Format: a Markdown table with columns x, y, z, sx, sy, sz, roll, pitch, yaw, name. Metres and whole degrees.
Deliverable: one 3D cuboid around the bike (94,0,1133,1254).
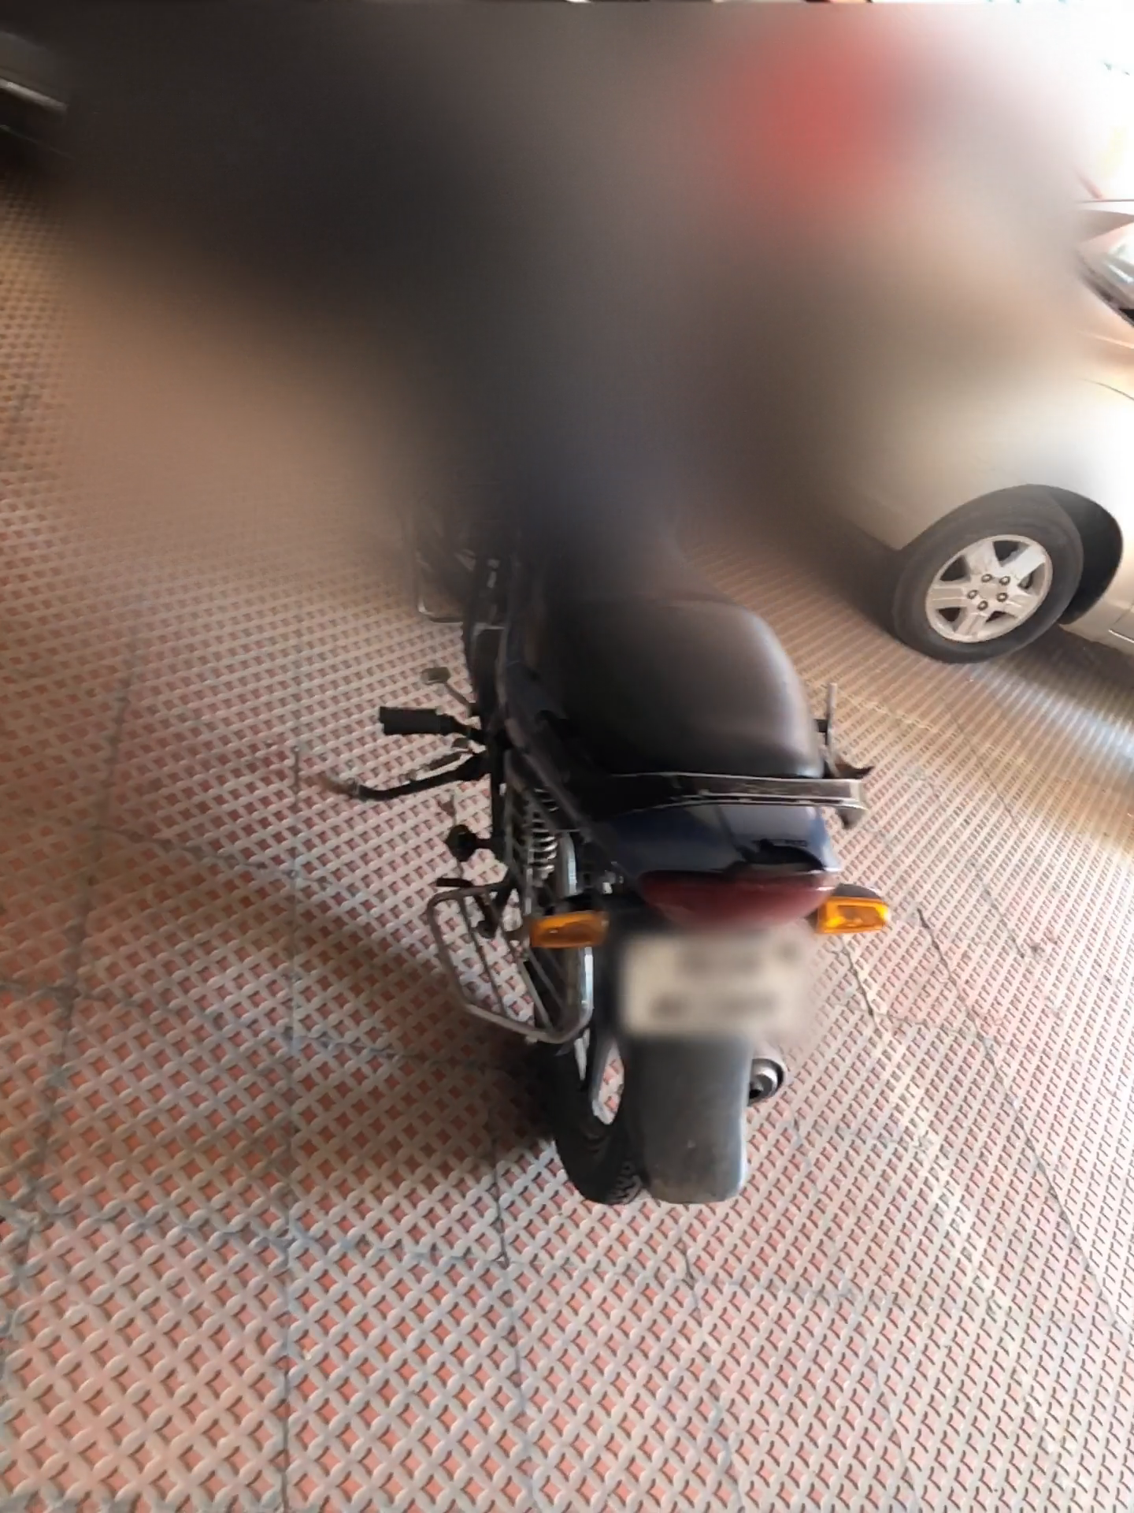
| x | y | z | sx | sy | sz | roll | pitch | yaw | name |
| --- | --- | --- | --- | --- | --- | --- | --- | --- | --- |
| -0.125 | -0.380 | 1.814 | 0.734 | 1.072 | 1.695 | 11 | 42 | -33 | bike |
